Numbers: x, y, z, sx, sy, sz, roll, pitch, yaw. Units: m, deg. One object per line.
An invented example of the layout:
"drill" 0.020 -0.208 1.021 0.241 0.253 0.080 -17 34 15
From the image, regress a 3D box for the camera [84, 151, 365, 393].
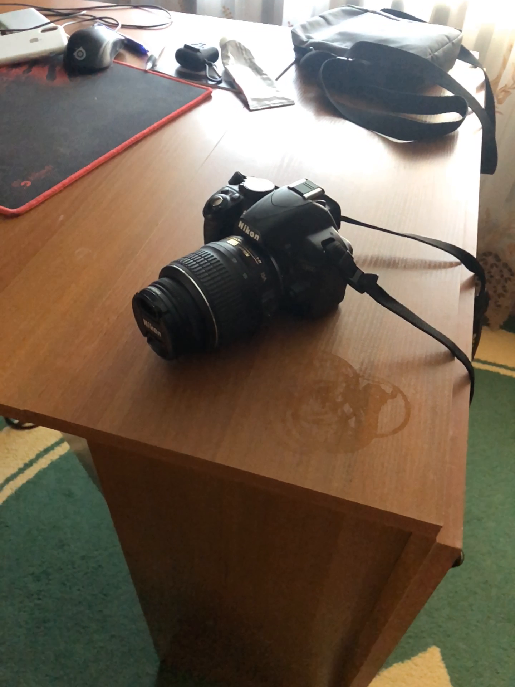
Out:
"camera" -0.022 -0.061 0.425 0.161 0.078 0.111 -30 55 -27
